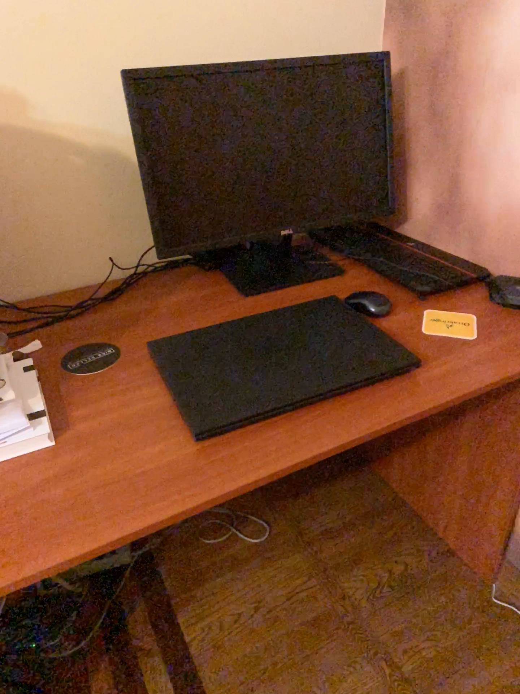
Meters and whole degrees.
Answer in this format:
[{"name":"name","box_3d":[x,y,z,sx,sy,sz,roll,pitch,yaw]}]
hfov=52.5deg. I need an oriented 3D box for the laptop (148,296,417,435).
[{"name":"laptop","box_3d":[0.028,0.008,0.837,0.360,0.002,0.249,-15,34,-21]}]
